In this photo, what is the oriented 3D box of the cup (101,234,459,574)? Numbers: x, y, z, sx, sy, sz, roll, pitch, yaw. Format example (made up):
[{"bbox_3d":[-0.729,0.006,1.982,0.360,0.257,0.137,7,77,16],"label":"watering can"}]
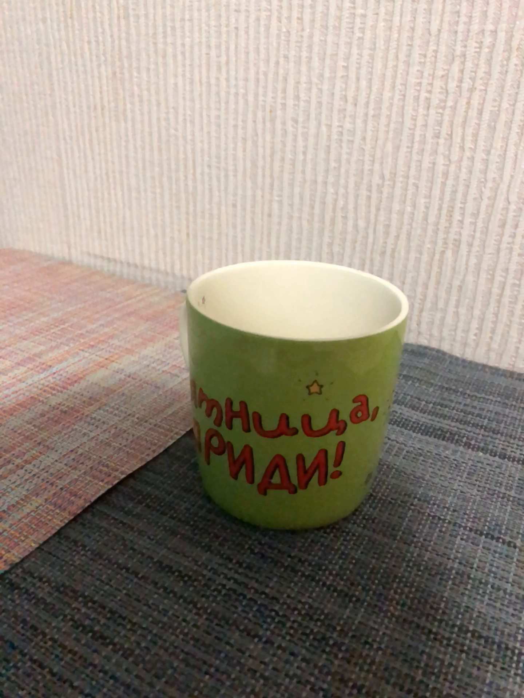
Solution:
[{"bbox_3d":[0.003,0.010,0.252,0.090,0.084,0.115,-20,33,-39],"label":"cup"}]
